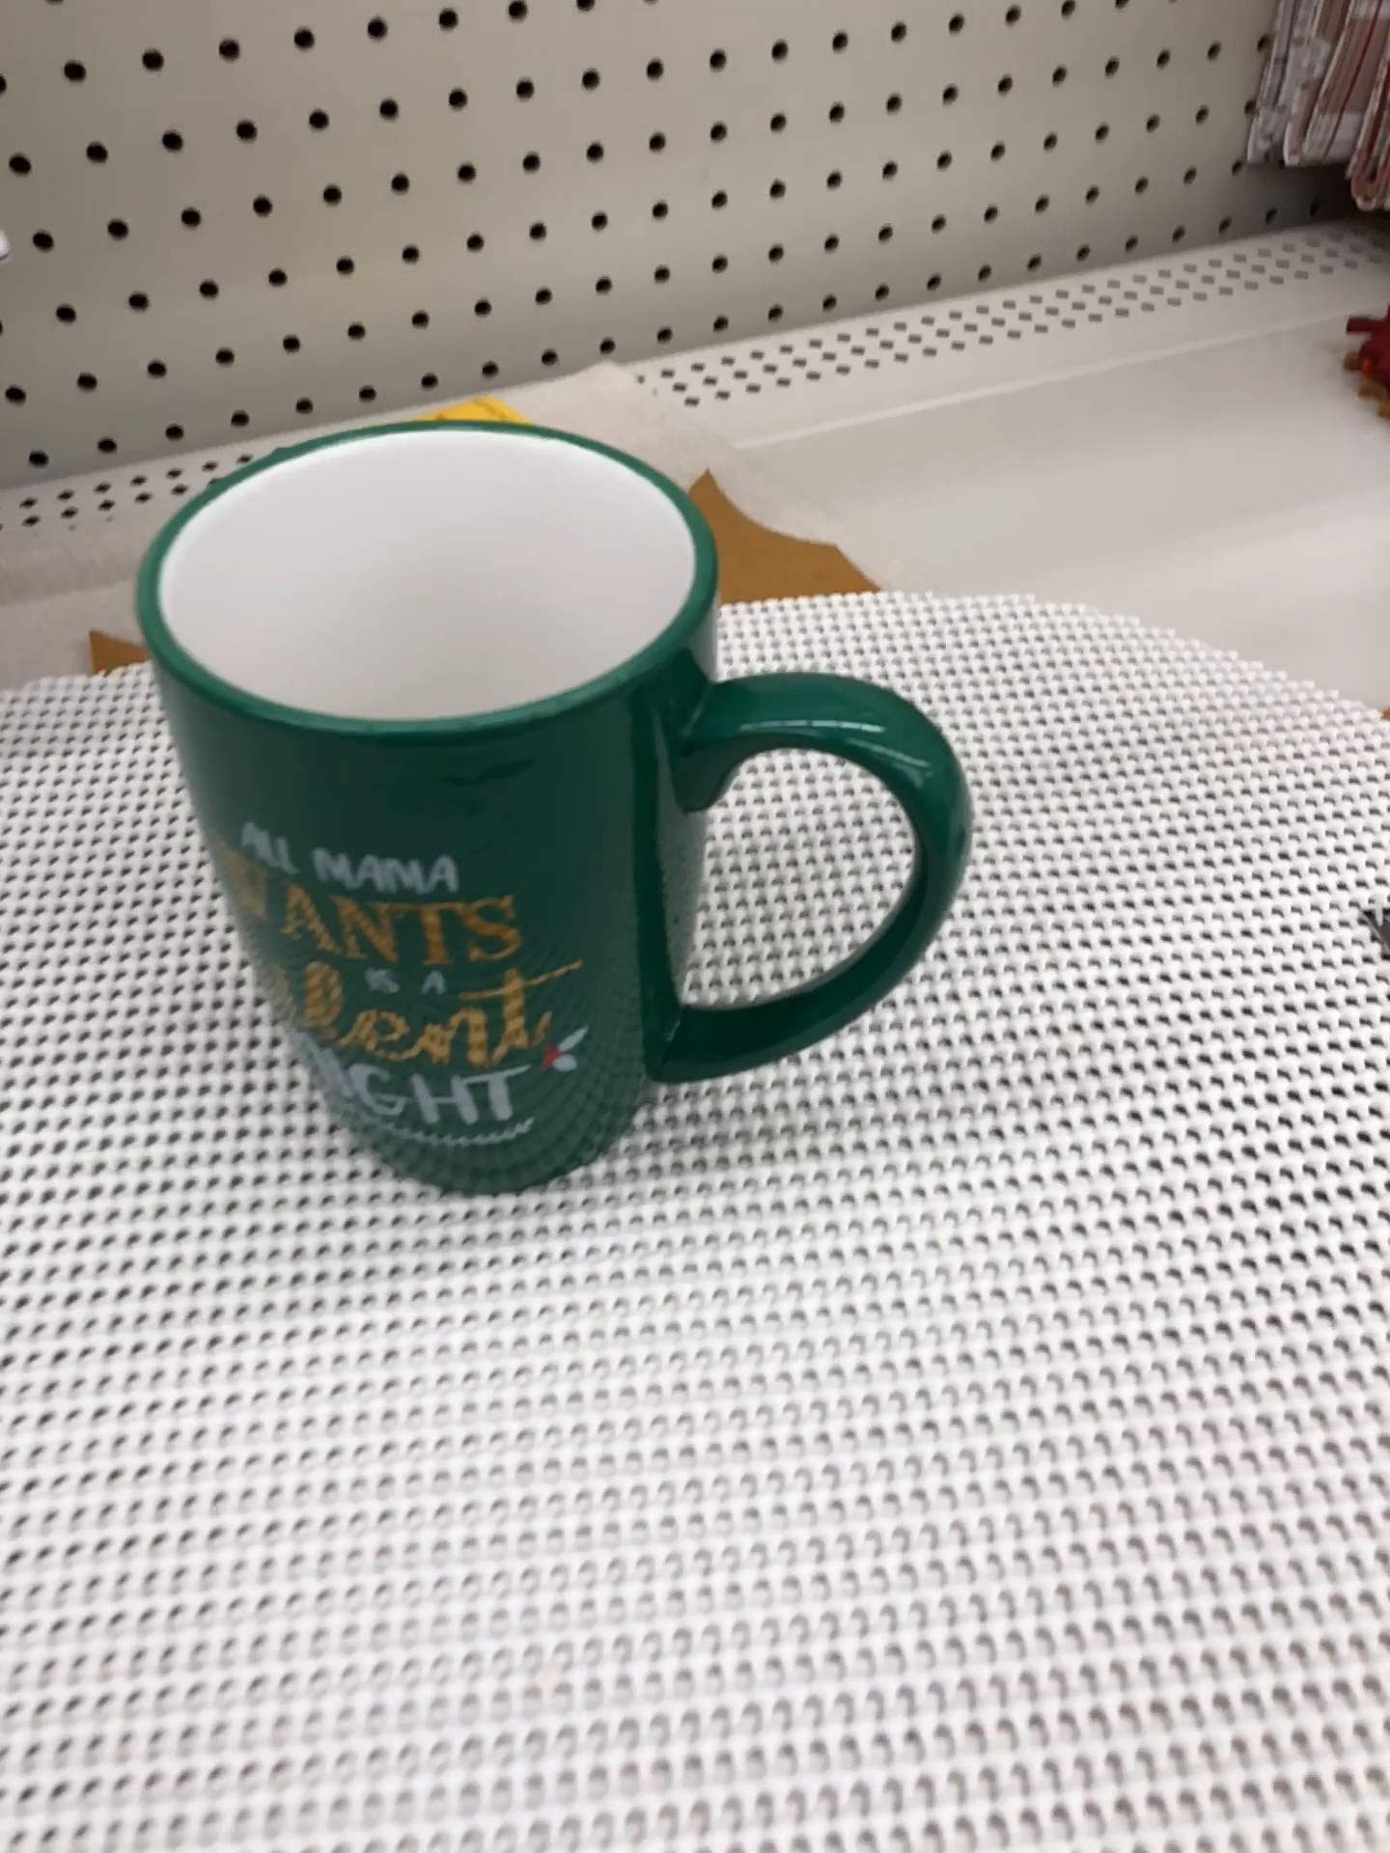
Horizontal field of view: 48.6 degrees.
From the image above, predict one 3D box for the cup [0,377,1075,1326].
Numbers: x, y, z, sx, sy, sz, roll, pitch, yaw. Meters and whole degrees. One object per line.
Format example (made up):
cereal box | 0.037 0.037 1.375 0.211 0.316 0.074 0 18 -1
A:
cup | -0.016 -0.017 0.275 0.140 0.110 0.100 10 45 12
